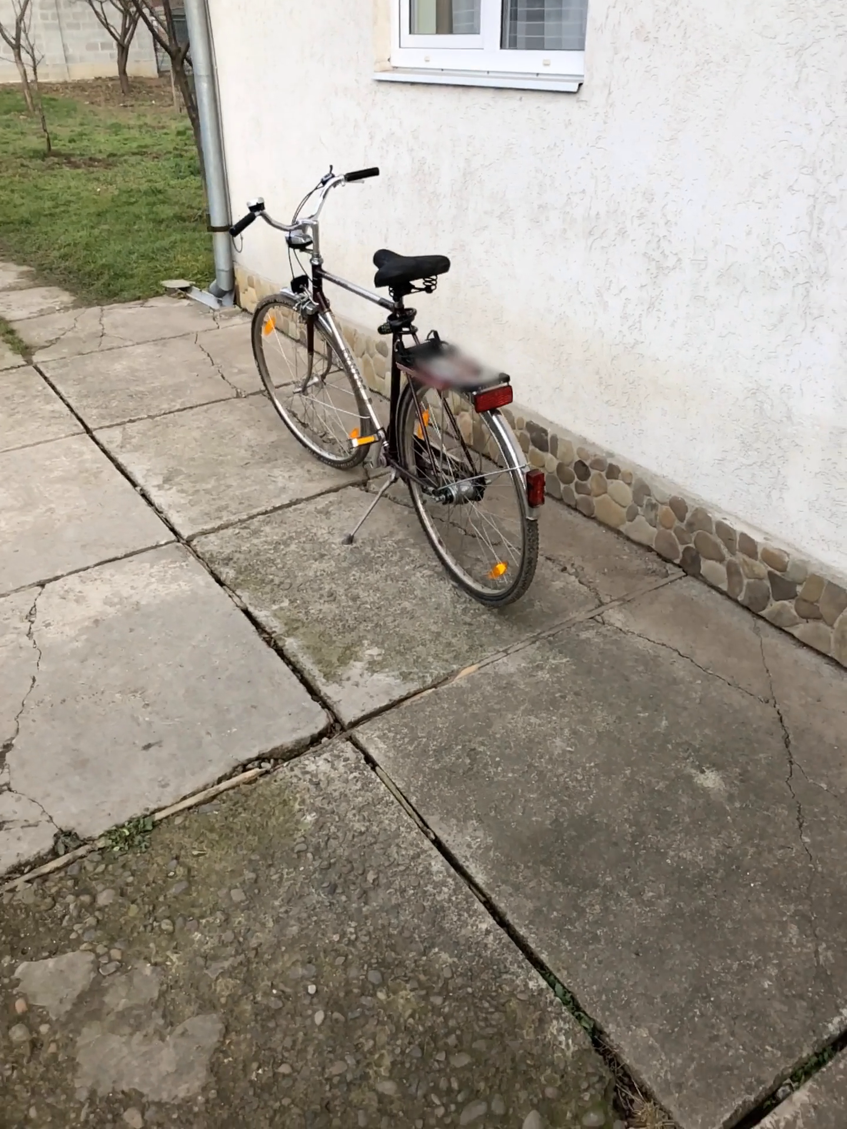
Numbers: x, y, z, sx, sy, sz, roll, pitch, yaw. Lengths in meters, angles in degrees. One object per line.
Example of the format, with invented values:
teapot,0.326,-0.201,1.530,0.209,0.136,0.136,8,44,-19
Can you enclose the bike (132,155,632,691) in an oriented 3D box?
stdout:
bike,-0.246,-0.578,2.843,0.597,1.054,1.718,-18,34,-27
